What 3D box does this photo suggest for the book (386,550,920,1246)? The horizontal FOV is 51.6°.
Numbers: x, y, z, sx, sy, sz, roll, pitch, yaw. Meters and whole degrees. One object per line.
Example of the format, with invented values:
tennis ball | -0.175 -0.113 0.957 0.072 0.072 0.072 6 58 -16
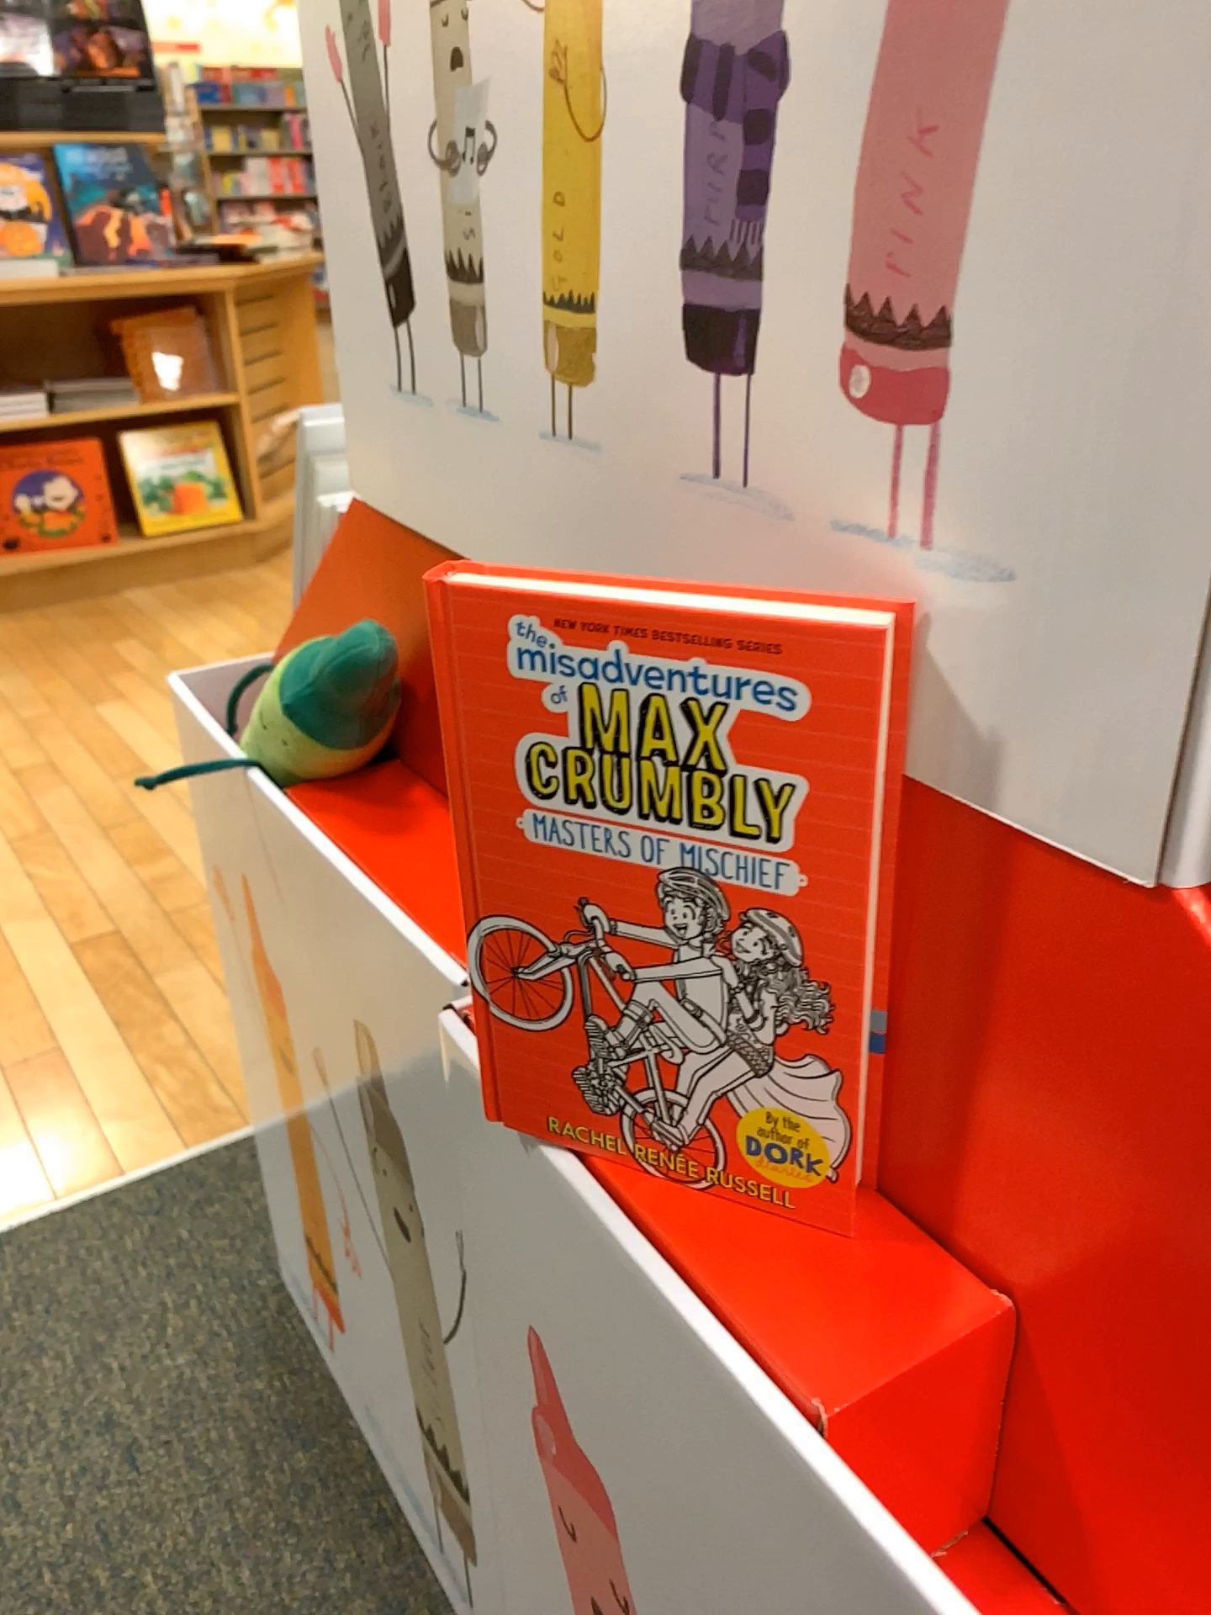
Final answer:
book | 0.014 0.030 0.383 0.142 0.201 0.031 10 30 22
